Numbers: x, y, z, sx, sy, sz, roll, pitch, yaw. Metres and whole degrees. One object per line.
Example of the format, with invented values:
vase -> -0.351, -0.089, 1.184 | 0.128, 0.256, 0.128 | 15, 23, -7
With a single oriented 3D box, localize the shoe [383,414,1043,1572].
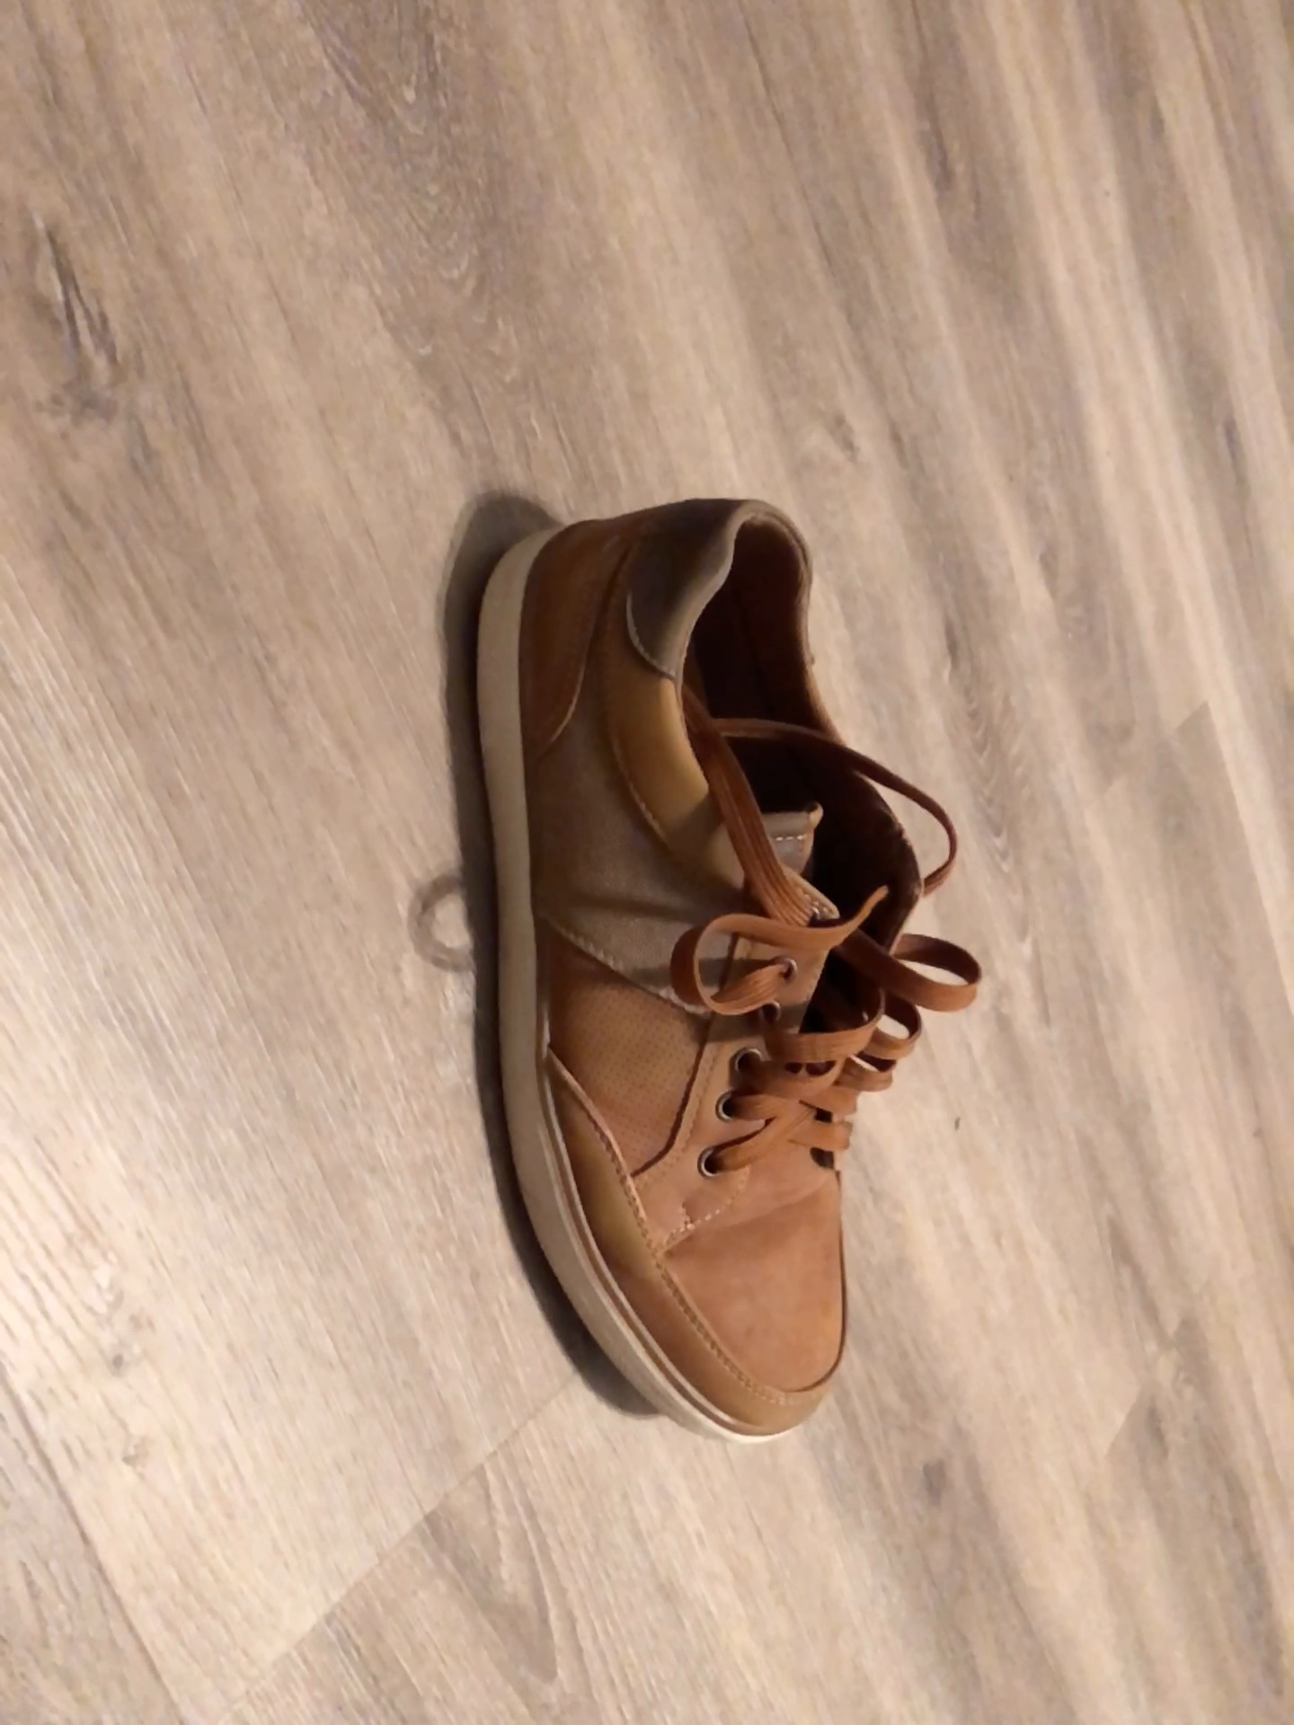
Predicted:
shoe -> 0.021, 0.031, 0.416 | 0.111, 0.099, 0.280 | -11, 92, -46
